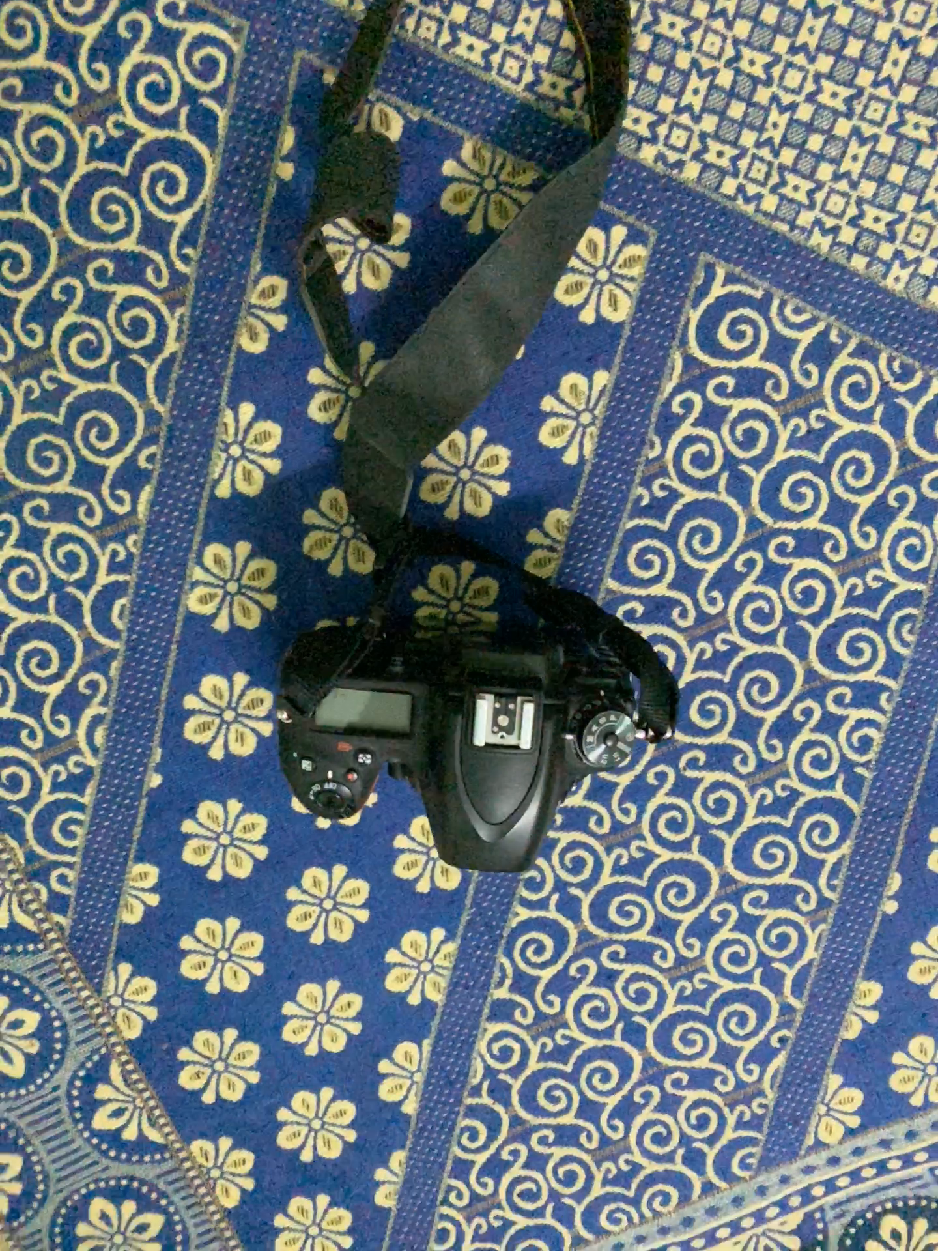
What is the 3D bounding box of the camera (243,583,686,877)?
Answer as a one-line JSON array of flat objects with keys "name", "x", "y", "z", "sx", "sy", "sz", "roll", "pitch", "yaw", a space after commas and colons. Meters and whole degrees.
[{"name": "camera", "x": -0.004, "y": 0.036, "z": 0.378, "sx": 0.150, "sy": 0.090, "sz": 0.088, "roll": 2, "pitch": 101, "yaw": -2}]
